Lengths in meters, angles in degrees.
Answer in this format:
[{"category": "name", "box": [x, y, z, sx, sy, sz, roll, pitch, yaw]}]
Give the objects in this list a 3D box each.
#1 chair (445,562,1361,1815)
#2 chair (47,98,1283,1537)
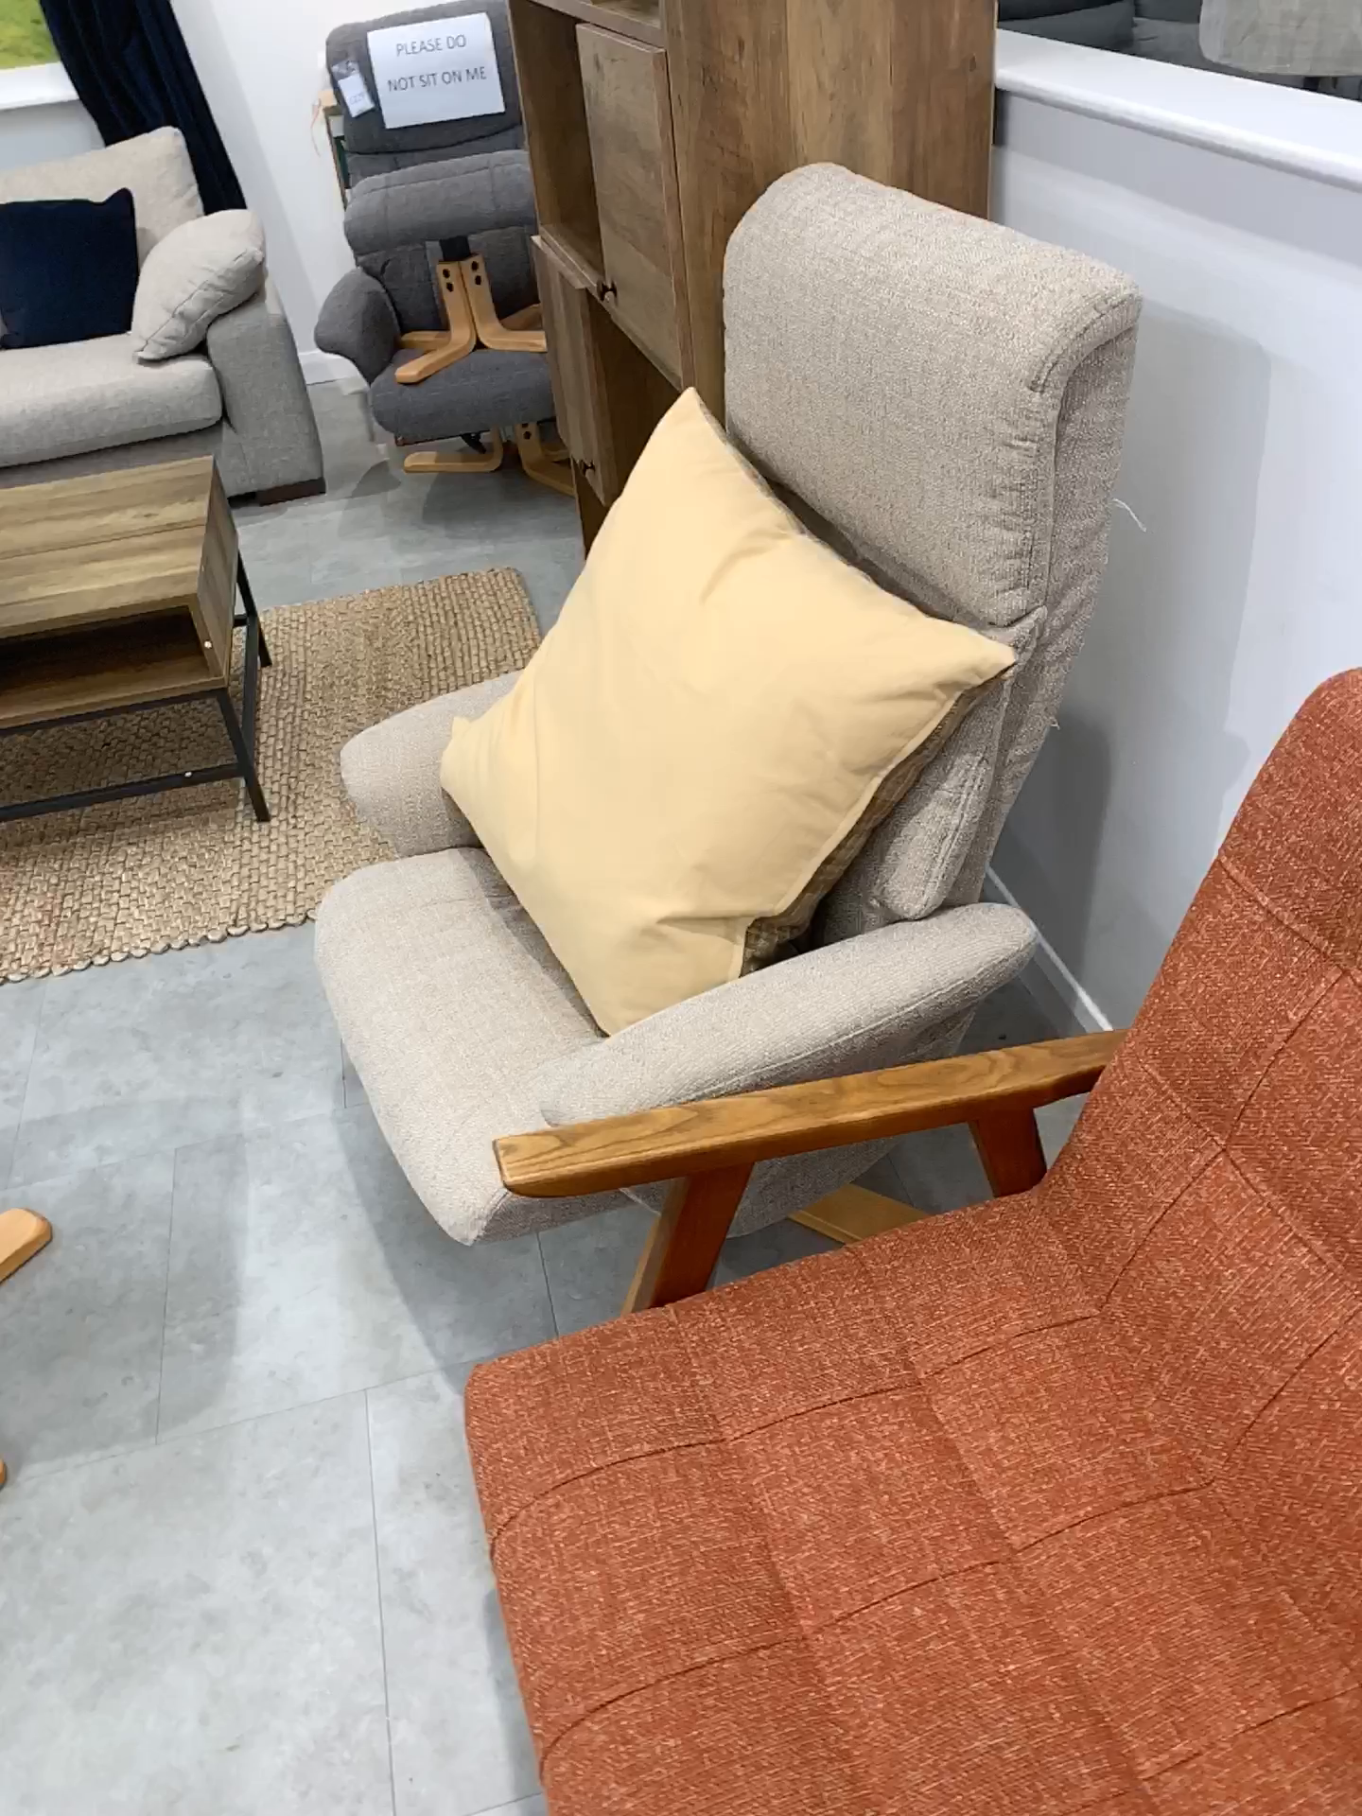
[{"category": "chair", "box": [0.232, 0.339, 0.935, 0.618, 0.918, 0.556, -10, 36, -15]}, {"category": "chair", "box": [-0.056, -0.095, 1.387, 0.658, 1.046, 0.767, -21, 45, -18]}]
